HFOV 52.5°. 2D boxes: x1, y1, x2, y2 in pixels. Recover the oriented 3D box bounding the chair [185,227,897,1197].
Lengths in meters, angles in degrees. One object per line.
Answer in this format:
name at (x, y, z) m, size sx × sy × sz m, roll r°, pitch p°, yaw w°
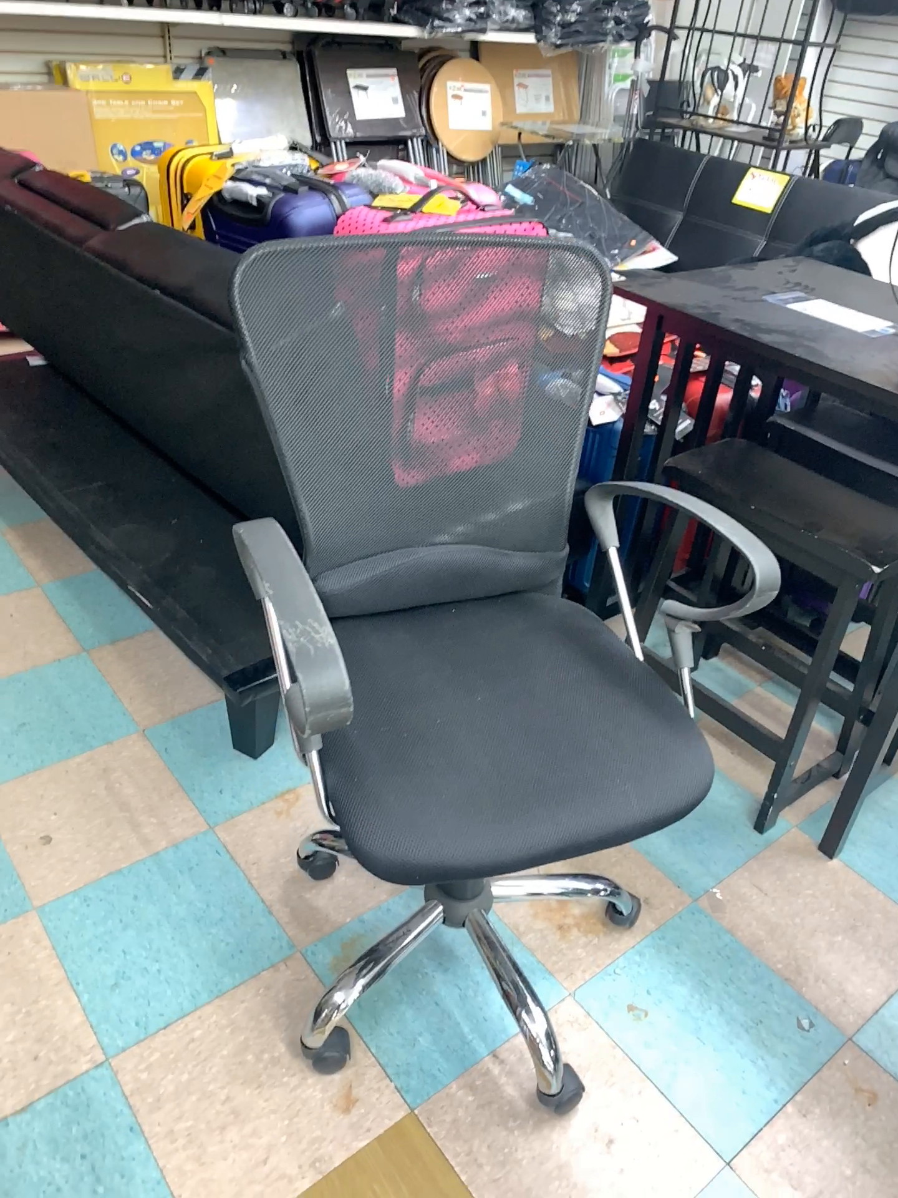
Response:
chair at (0.067, 0.136, 1.163) m, size 0.621 × 1.019 × 0.603 m, roll -9°, pitch 36°, yaw -22°
